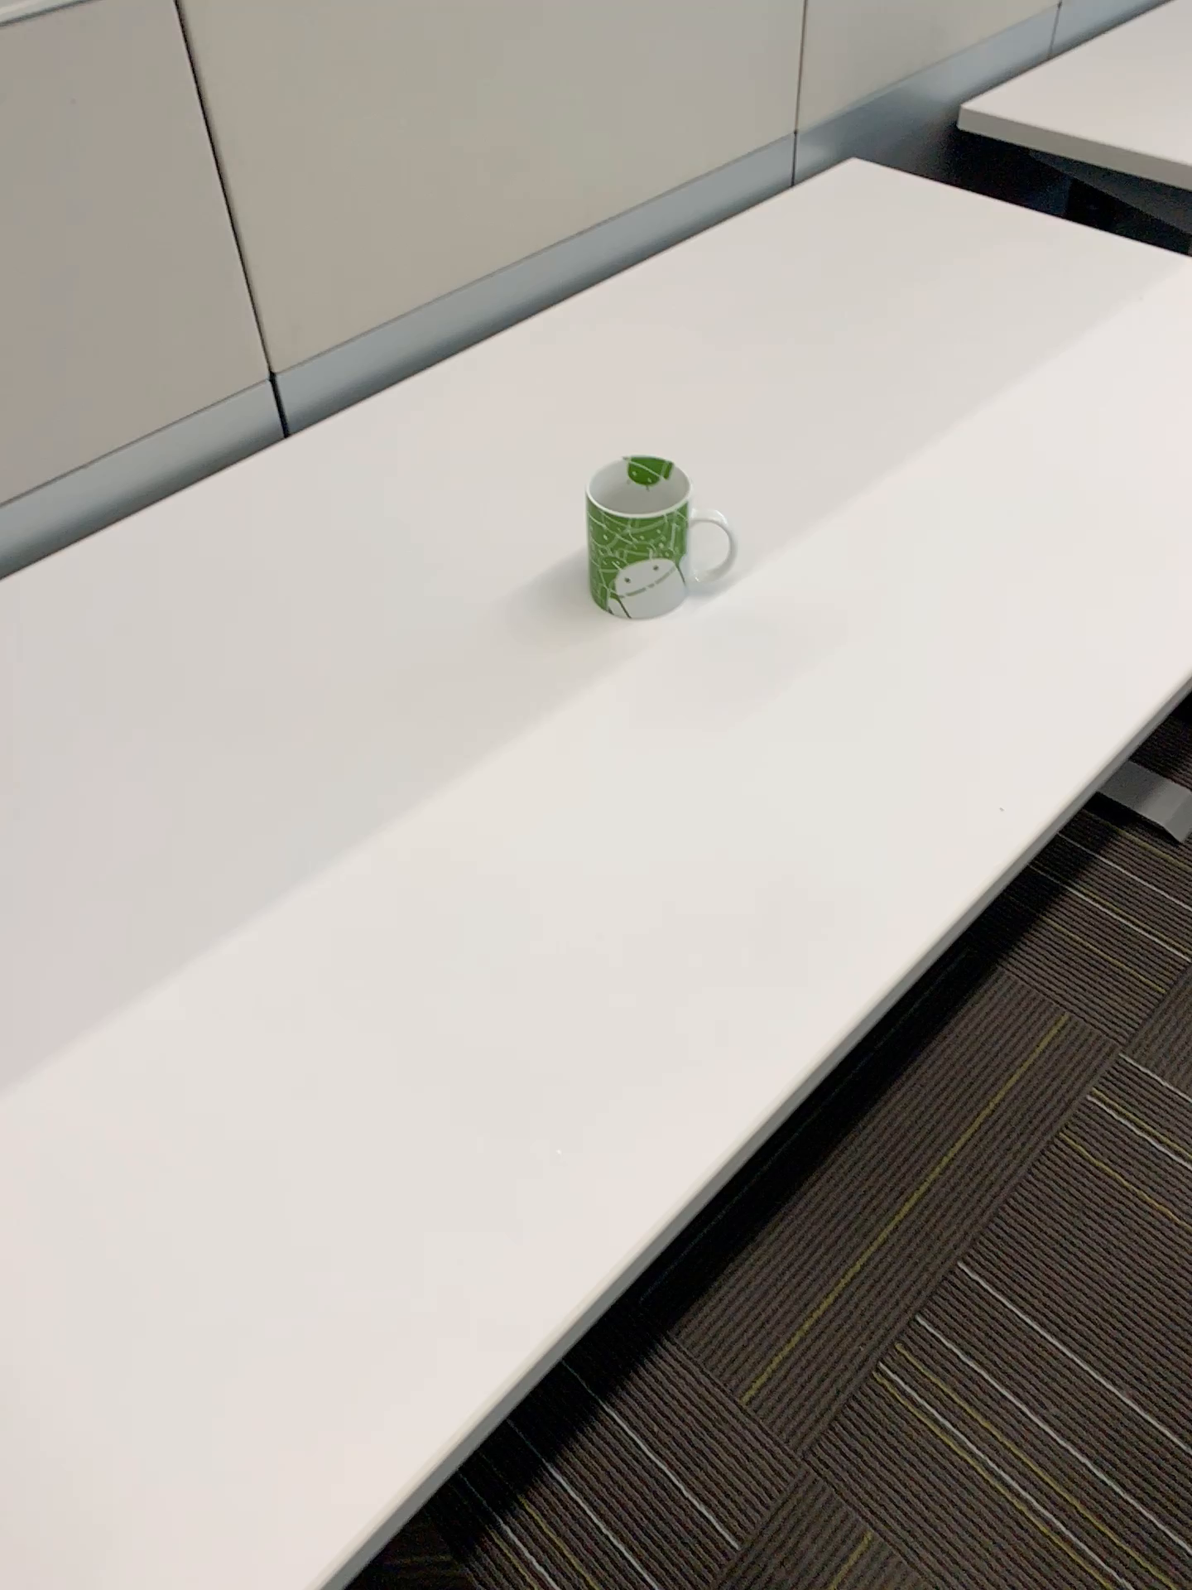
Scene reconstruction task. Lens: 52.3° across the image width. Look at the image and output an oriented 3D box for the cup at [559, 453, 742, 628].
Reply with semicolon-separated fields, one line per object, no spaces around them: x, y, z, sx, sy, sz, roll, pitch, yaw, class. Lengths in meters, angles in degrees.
0.041;-0.200;0.958;0.130;0.090;0.090;-5;48;-2;cup
